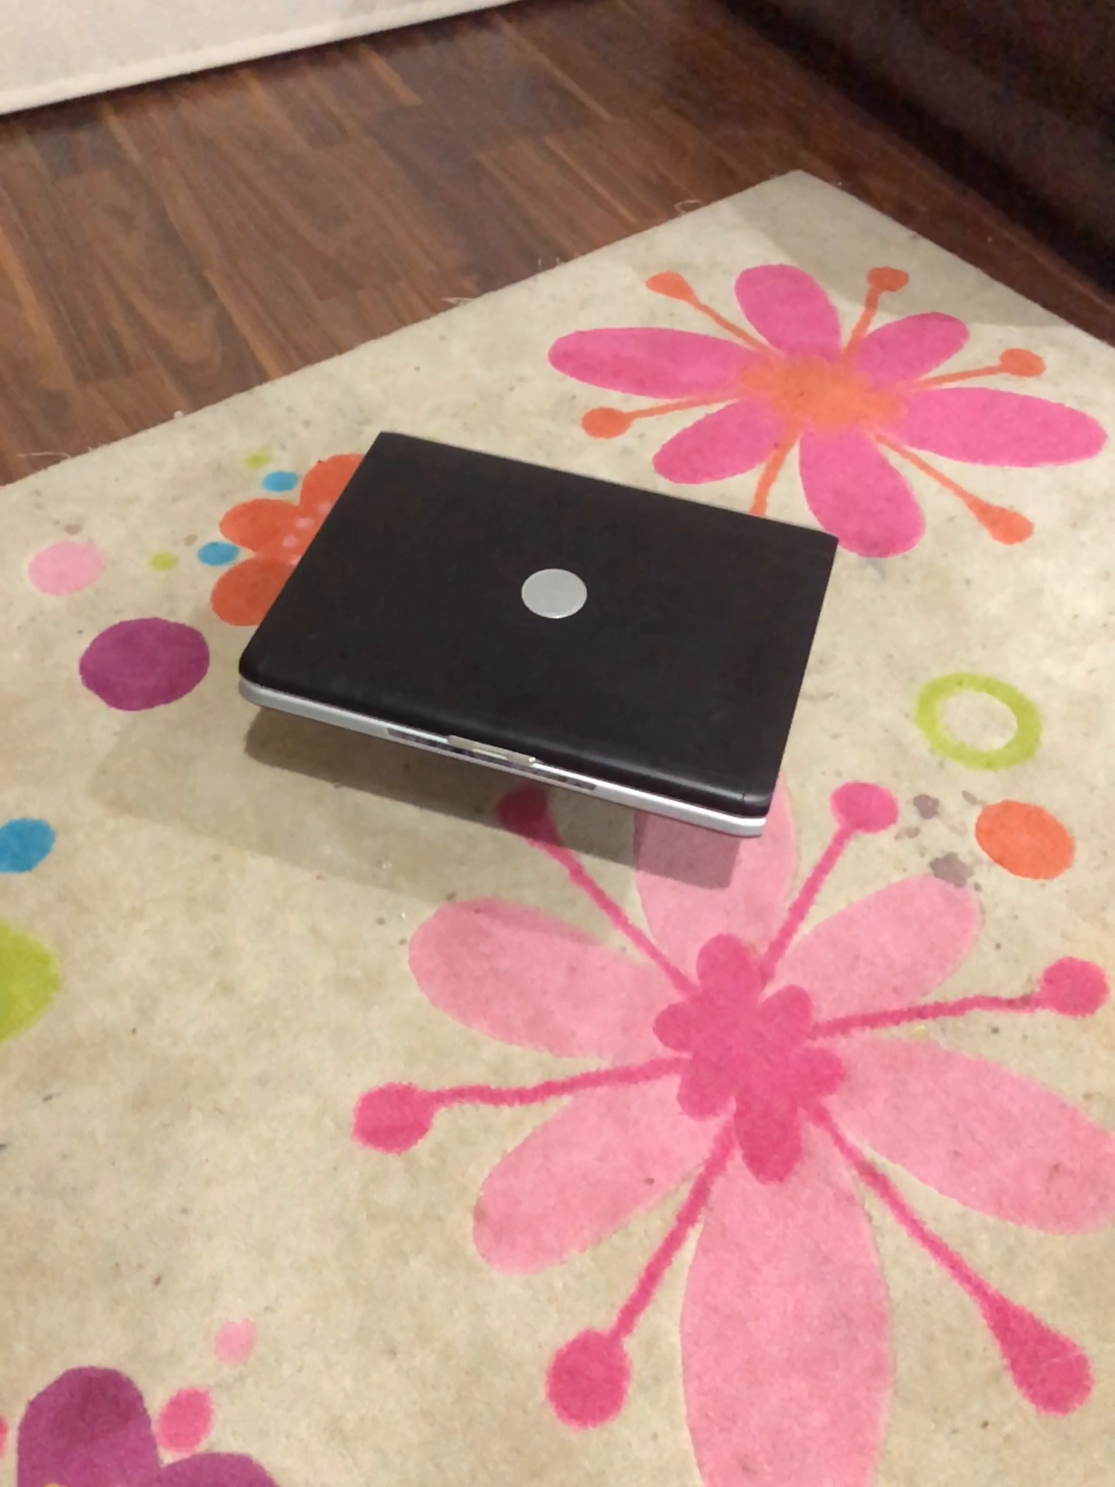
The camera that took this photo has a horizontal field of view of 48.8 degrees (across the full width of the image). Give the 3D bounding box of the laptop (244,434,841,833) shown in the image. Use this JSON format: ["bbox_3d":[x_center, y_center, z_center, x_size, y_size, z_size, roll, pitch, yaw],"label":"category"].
[{"bbox_3d":[-0.006,-0.091,0.841,0.353,0.015,0.233,15,58,13],"label":"laptop"}]
